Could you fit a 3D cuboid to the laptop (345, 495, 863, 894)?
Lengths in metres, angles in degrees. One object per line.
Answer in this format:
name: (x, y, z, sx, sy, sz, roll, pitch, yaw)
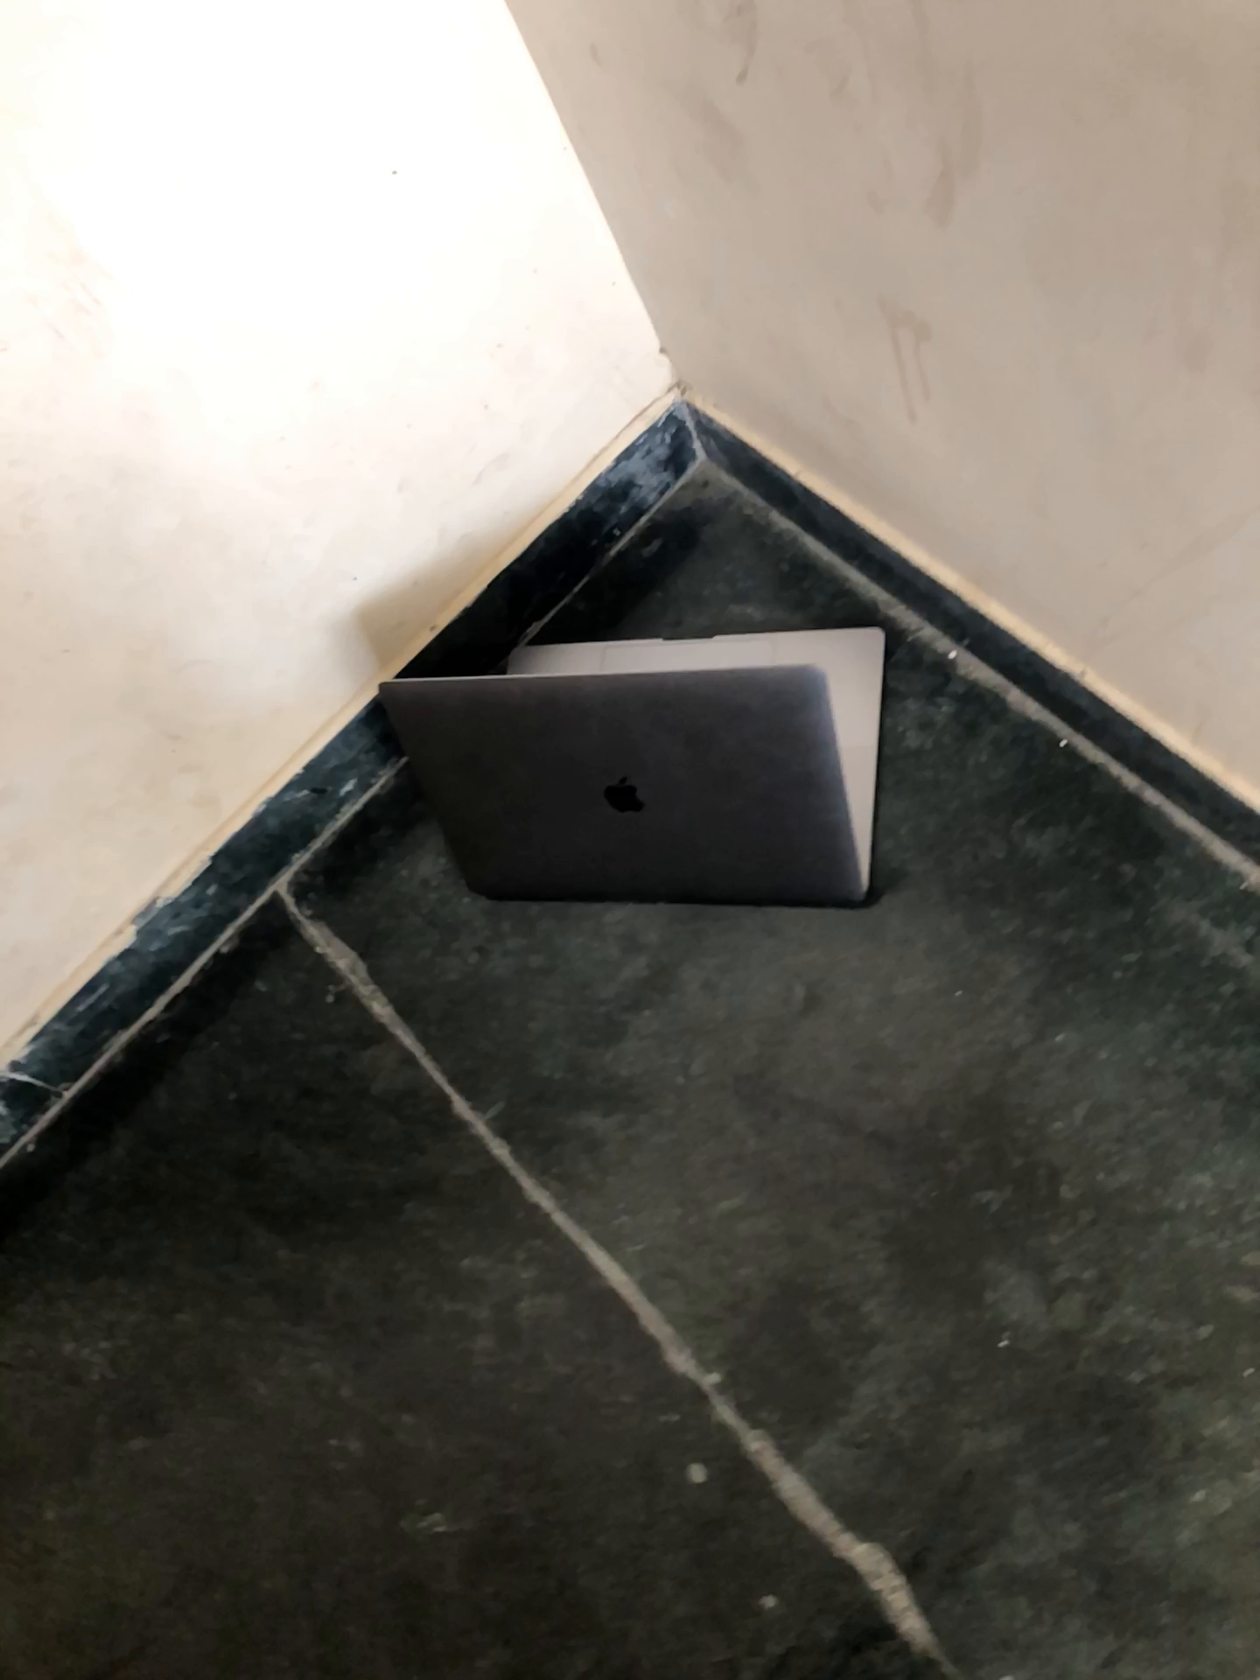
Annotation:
laptop: (-0.009, -0.101, 1.062, 0.329, 0.199, 0.221, 1, 71, 22)
